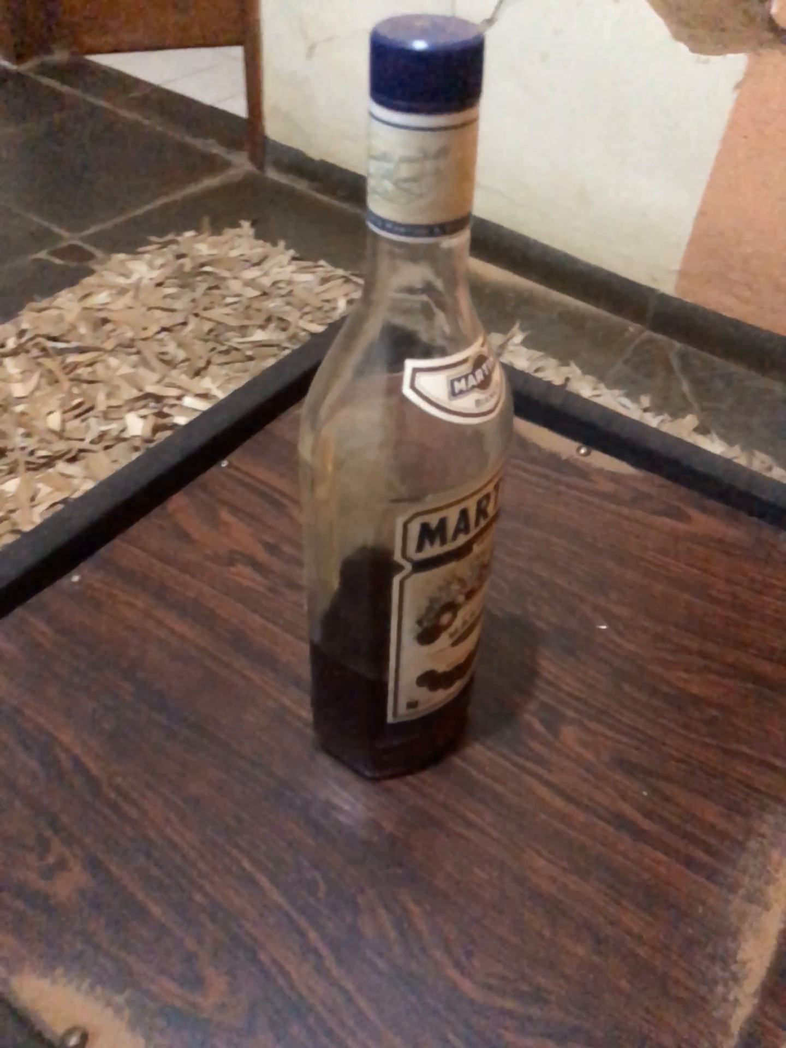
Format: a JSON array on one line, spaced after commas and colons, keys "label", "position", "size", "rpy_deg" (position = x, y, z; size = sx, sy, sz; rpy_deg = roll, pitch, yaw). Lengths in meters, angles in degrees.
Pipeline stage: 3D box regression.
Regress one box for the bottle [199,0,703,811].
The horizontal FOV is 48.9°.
[{"label": "bottle", "position": [0.008, -0.024, 0.331], "size": [0.090, 0.298, 0.101], "rpy_deg": [33, 51, 25]}]
